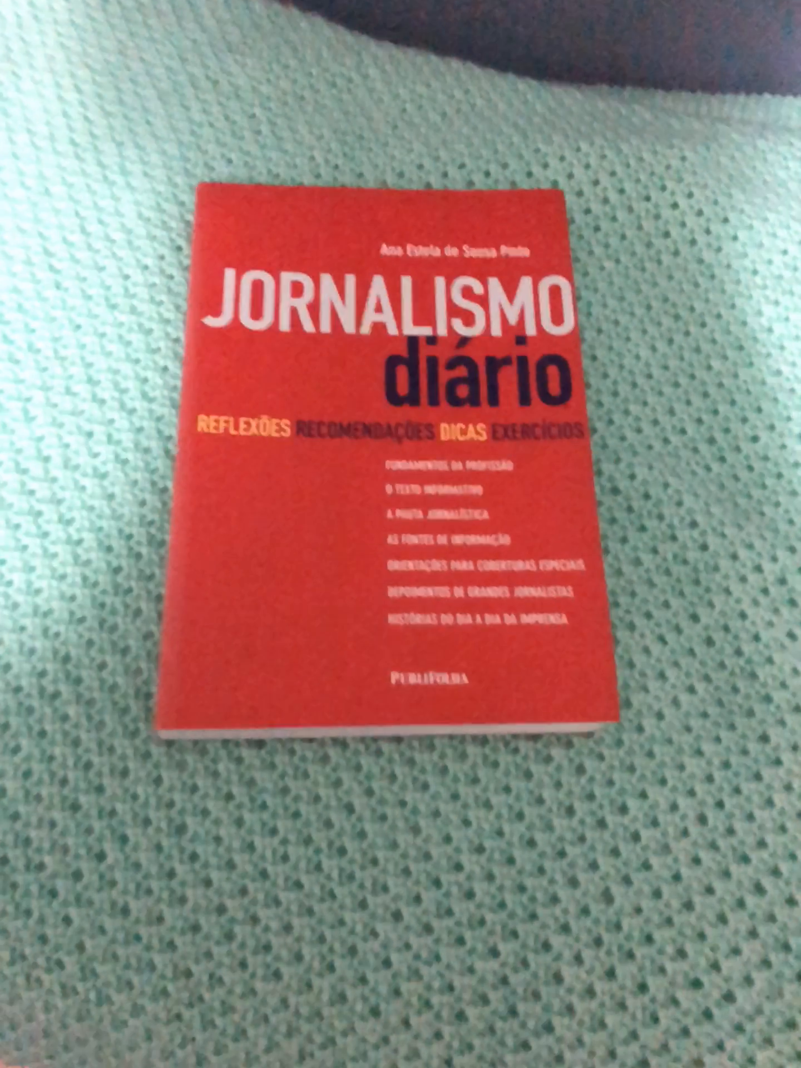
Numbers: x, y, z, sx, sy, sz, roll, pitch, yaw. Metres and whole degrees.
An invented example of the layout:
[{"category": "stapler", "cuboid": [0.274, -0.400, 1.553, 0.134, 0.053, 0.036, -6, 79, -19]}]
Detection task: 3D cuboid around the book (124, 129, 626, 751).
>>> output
[{"category": "book", "cuboid": [-0.010, -0.048, 0.341, 0.160, 0.030, 0.251, -1, 69, -1]}]
